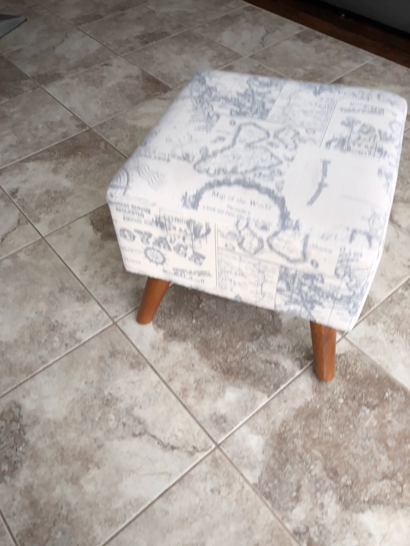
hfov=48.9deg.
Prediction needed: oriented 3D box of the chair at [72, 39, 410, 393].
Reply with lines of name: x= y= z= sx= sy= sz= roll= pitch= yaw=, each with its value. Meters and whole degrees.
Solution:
chair: x=0.108 y=-0.130 z=0.809 sx=0.420 sy=0.319 sz=0.471 roll=15 pitch=53 yaw=15
